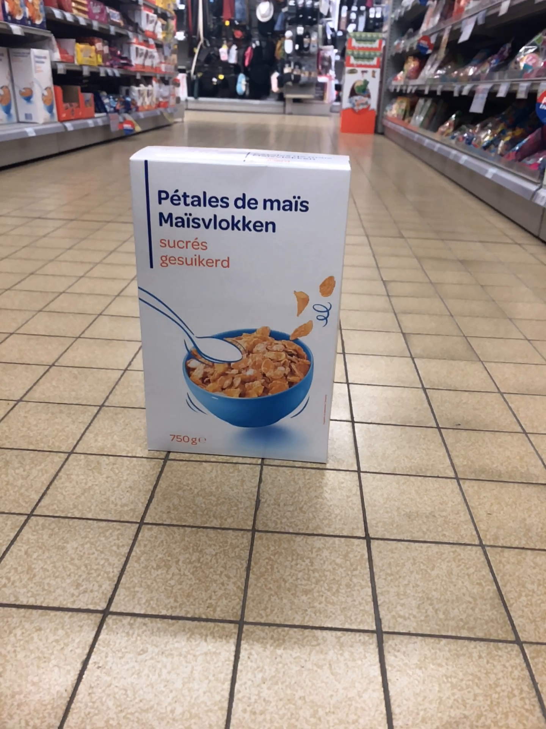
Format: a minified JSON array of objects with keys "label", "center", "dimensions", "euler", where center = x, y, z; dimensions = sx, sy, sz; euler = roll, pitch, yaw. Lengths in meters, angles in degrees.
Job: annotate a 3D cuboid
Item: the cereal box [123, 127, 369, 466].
[{"label":"cereal box","center":[-0.024,-0.066,0.594],"dimensions":[0.200,0.298,0.111],"euler":[5,24,4]}]
